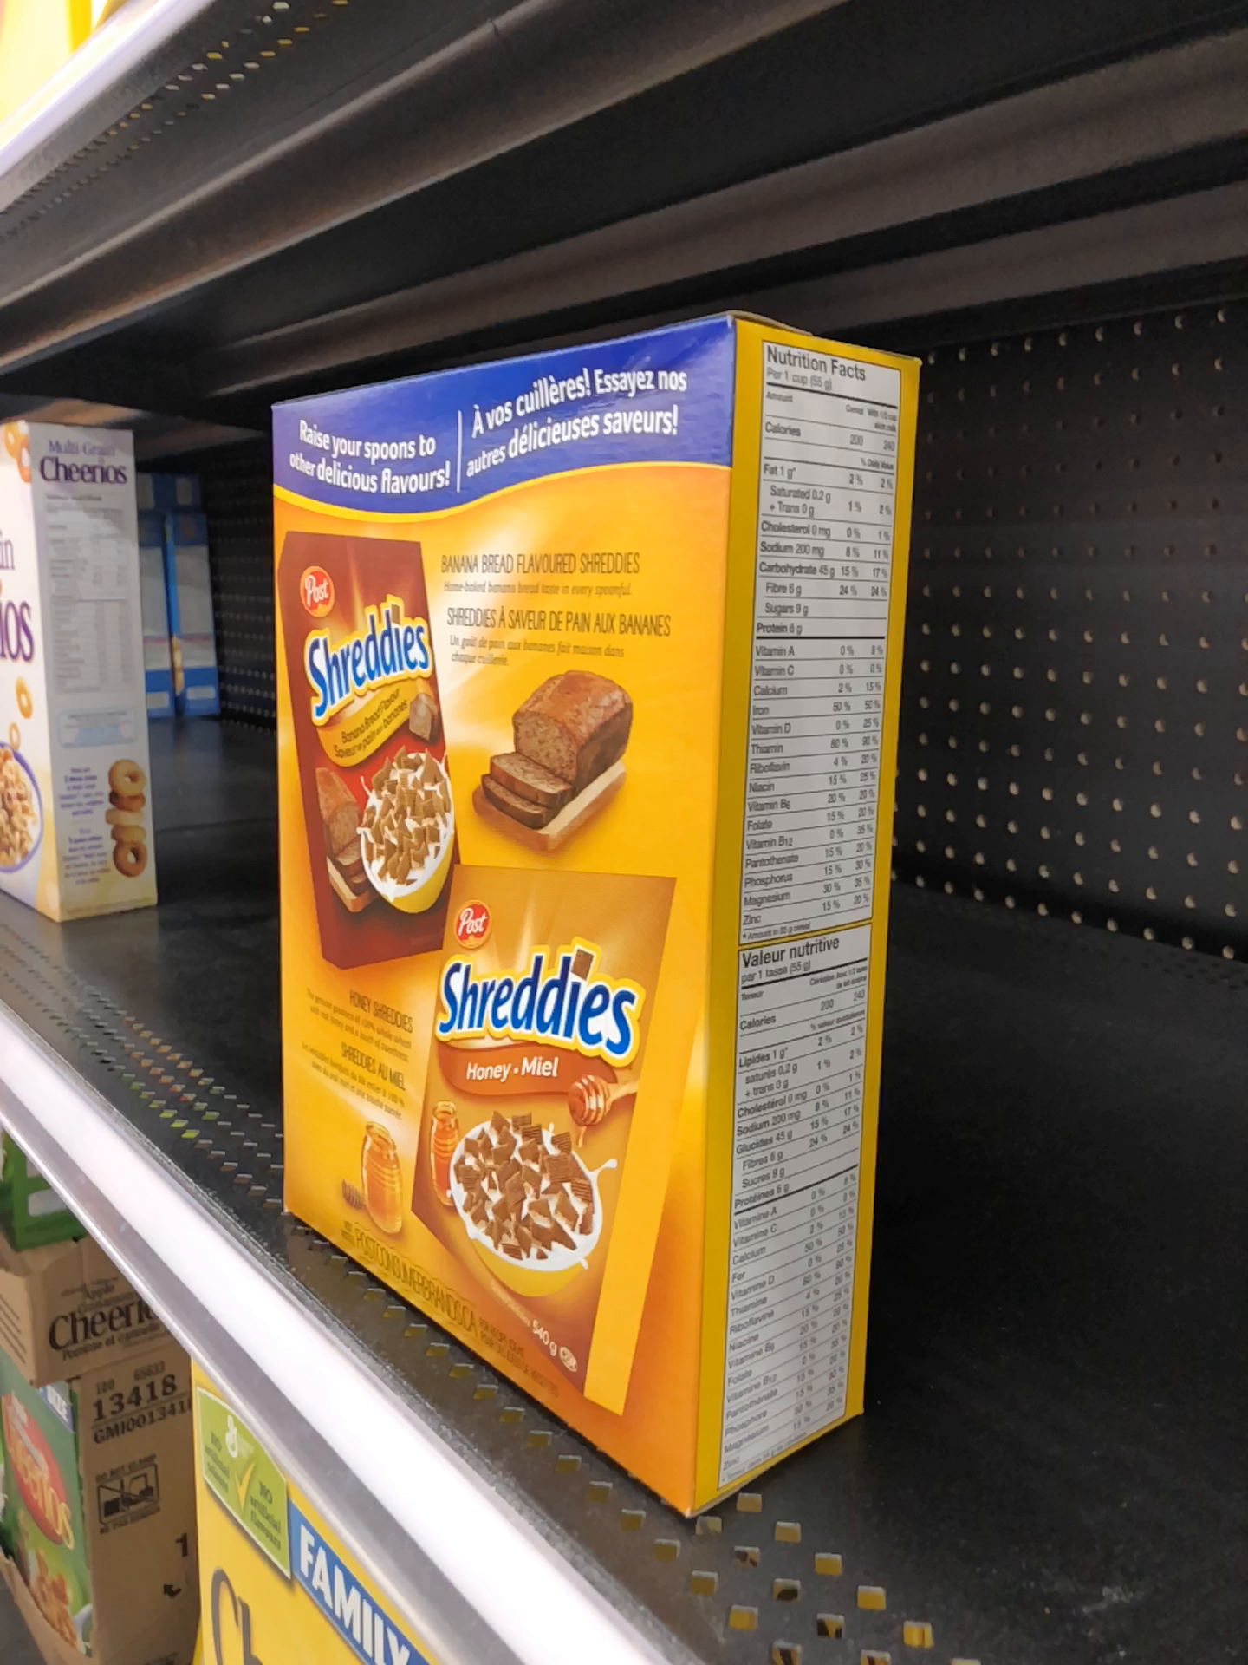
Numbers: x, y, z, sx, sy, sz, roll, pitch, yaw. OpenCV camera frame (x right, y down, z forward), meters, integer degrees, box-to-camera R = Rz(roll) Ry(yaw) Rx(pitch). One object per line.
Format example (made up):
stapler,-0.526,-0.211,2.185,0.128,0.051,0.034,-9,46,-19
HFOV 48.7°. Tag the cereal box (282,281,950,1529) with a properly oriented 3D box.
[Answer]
cereal box,-0.020,0.007,0.391,0.060,0.269,0.210,-5,11,-39
